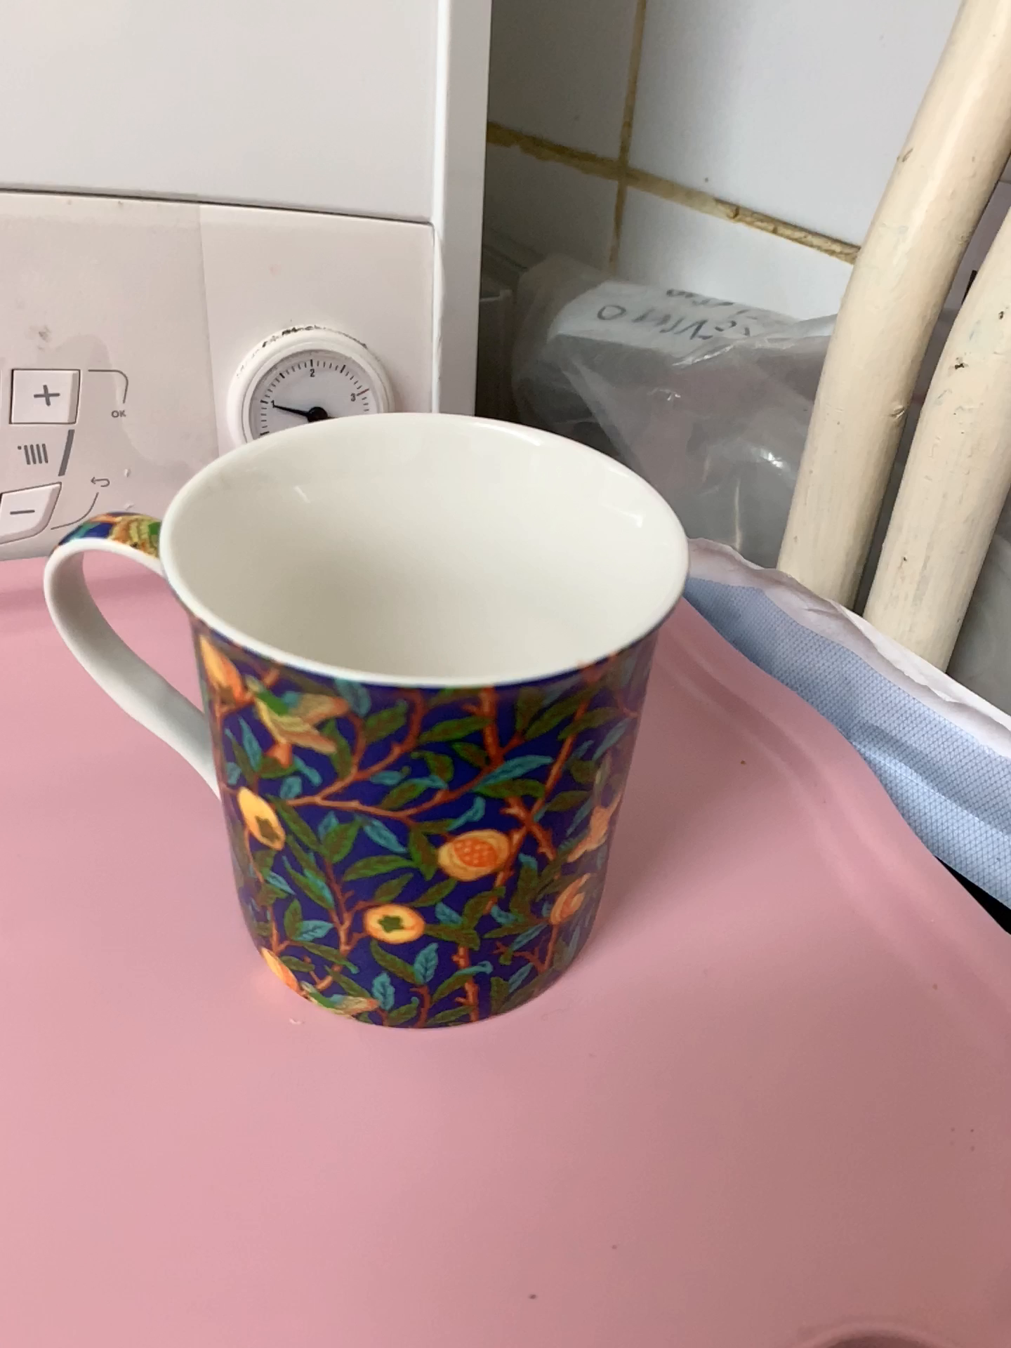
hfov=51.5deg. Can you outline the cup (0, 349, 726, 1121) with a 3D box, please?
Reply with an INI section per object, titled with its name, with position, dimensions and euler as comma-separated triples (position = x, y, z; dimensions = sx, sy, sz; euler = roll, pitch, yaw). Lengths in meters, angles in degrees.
[cup]
position = -0.033, 0.002, 0.184
dimensions = 0.120, 0.079, 0.081
euler = 12, 34, 12
